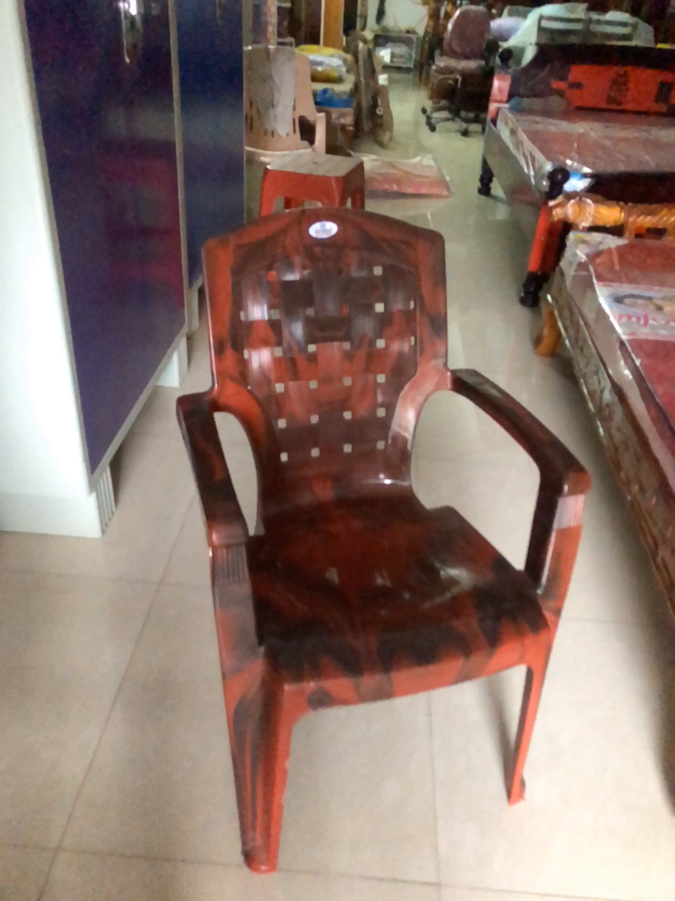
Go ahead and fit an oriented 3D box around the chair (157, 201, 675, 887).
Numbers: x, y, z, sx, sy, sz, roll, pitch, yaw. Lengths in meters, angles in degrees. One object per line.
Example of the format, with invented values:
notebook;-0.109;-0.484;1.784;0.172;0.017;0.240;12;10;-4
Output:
chair;0.036;0.123;1.173;0.531;0.865;0.562;-6;34;-15
